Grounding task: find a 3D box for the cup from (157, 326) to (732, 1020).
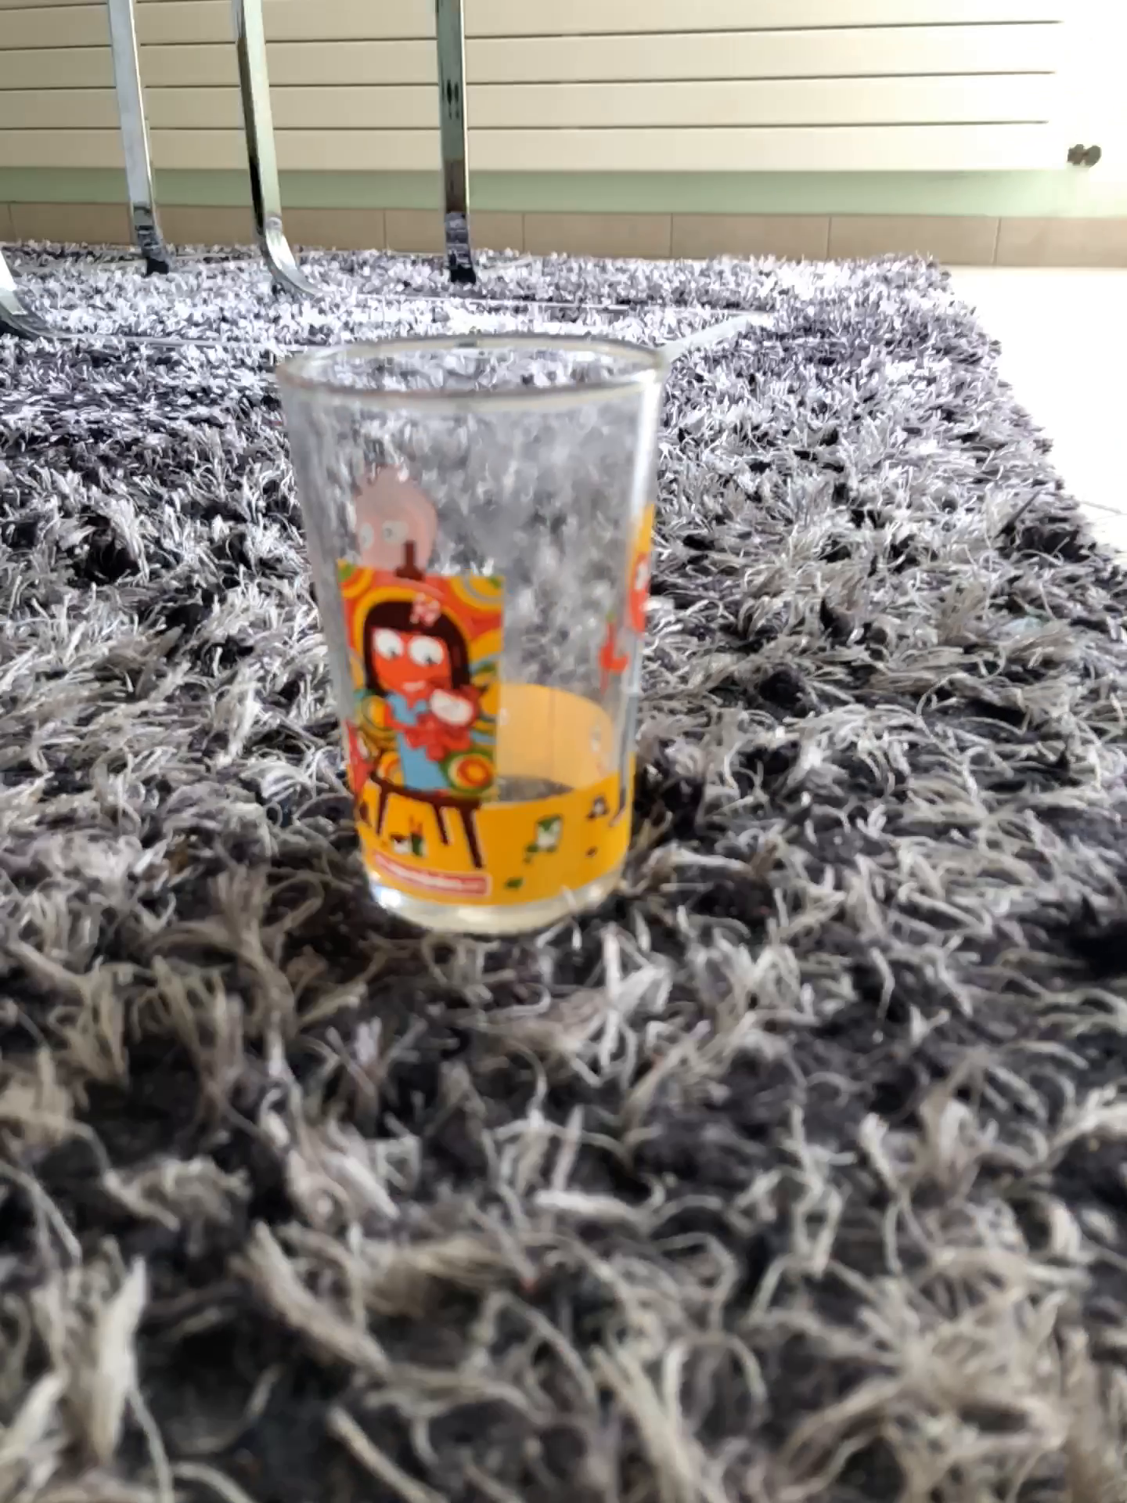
[{"bbox_3d":[-0.016,-0.020,0.225,0.070,0.099,0.070,0,24,0],"label":"cup"}]
